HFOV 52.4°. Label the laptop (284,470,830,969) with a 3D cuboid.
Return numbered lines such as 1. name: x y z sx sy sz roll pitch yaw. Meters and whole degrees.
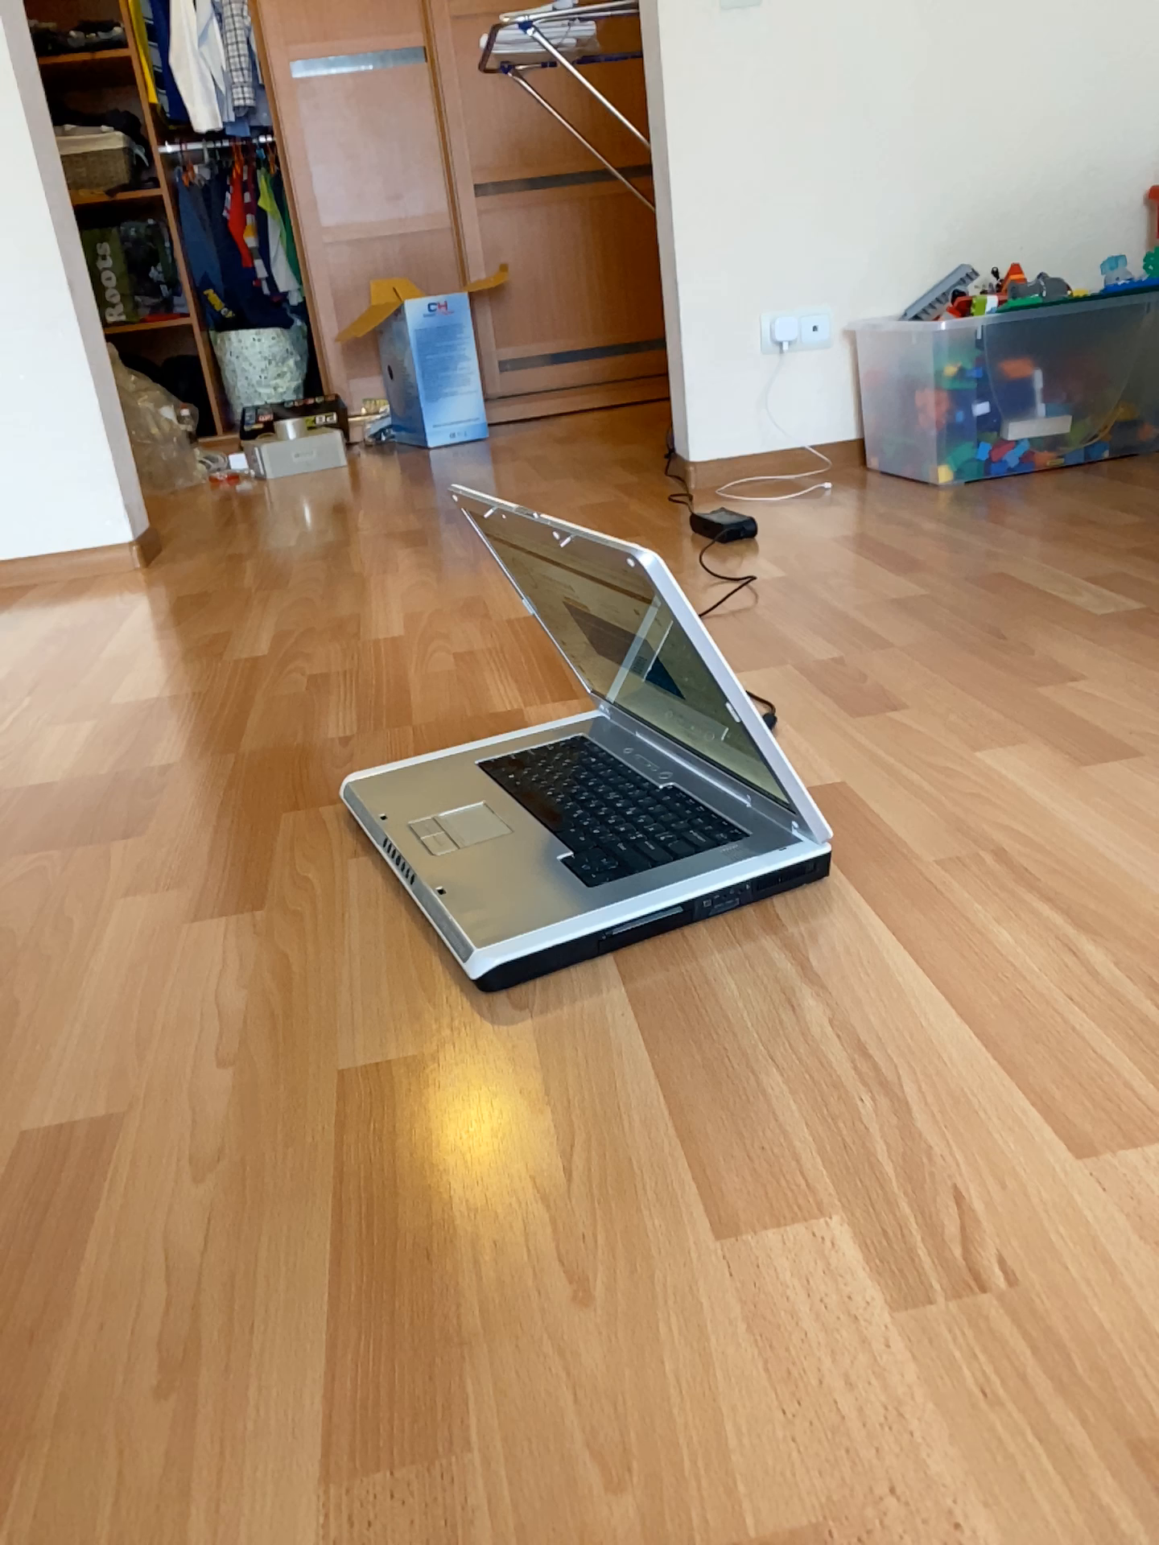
1. laptop: -0.035 -0.078 0.927 0.273 0.238 0.388 -15 23 -20
